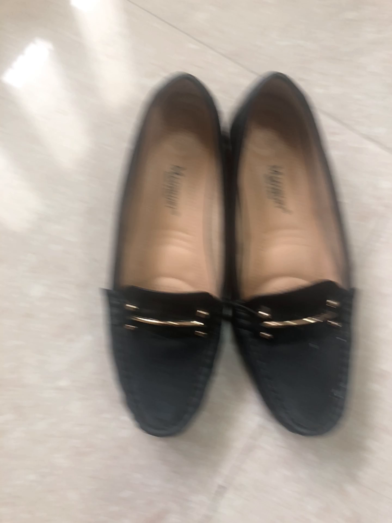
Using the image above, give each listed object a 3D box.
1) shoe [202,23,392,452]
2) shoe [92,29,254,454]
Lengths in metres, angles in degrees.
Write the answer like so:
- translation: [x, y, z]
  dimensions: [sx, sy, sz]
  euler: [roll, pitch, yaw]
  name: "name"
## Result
- translation: [0.072, -0.026, 0.350]
  dimensions: [0.100, 0.080, 0.310]
  euler: [-6, 76, -1]
  name: "shoe"
- translation: [-0.013, -0.022, 0.346]
  dimensions: [0.100, 0.080, 0.310]
  euler: [0, 76, 1]
  name: "shoe"
